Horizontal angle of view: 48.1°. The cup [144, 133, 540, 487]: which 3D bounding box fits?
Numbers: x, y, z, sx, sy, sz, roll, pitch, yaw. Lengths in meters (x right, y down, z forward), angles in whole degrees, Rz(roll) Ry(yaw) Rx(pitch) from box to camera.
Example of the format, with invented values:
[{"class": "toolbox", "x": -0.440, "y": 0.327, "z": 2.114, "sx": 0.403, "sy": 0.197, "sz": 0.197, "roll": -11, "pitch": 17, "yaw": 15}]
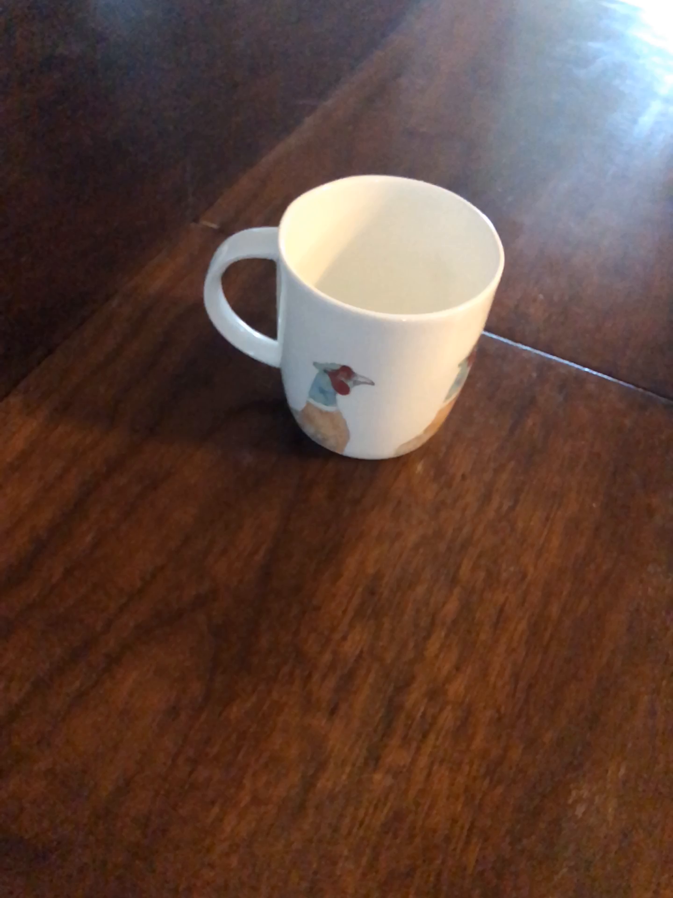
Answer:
[{"class": "cup", "x": 0.004, "y": -0.056, "z": 0.309, "sx": 0.130, "sy": 0.090, "sz": 0.090, "roll": 8, "pitch": 51, "yaw": 1}]
